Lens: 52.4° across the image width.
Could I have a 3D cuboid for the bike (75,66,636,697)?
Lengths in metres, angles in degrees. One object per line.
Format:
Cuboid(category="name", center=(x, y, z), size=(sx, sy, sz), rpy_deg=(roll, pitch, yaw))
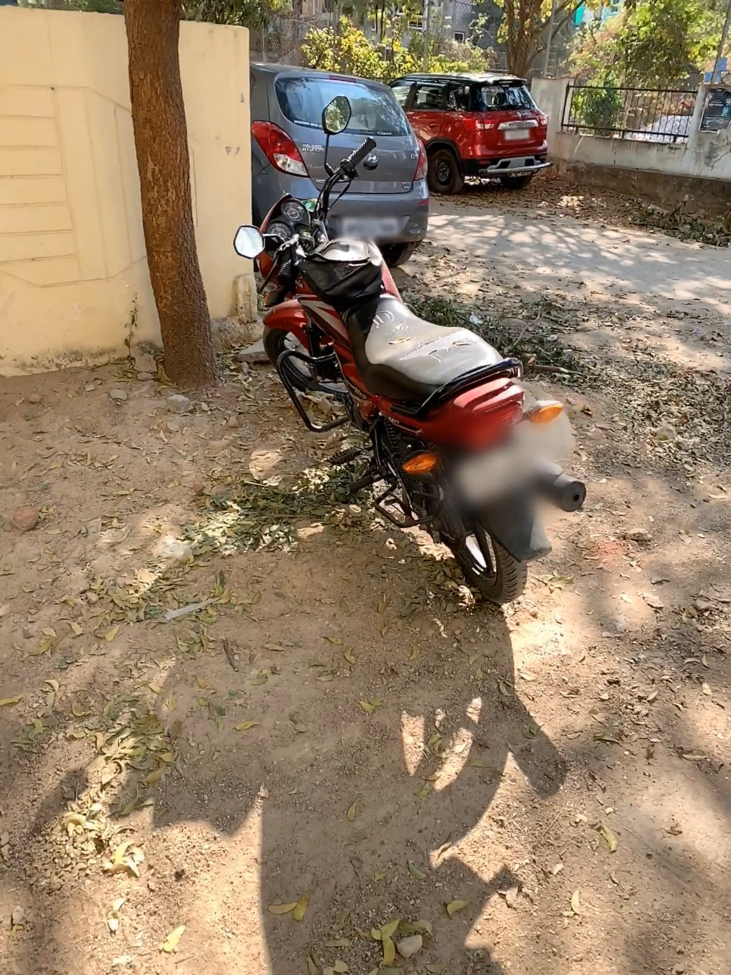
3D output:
Cuboid(category="bike", center=(-0.209, -0.491, 2.312), size=(0.777, 1.179, 1.647), rpy_deg=(-13, 37, -27))
